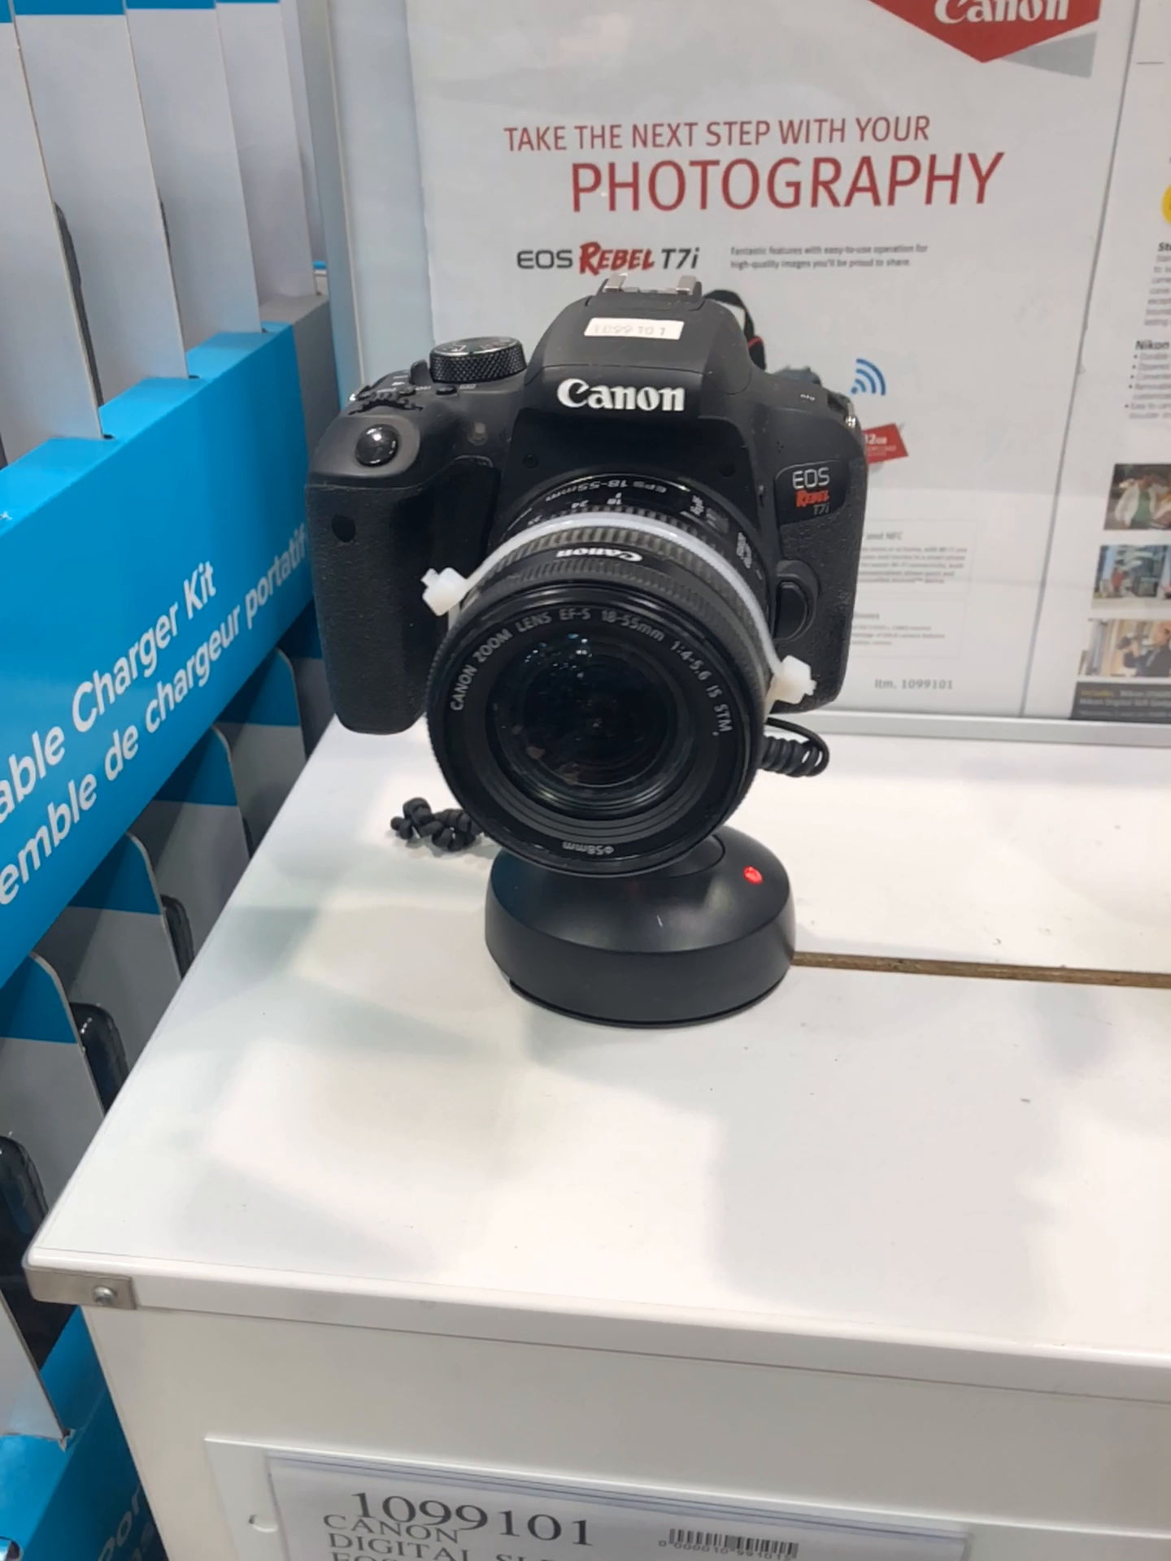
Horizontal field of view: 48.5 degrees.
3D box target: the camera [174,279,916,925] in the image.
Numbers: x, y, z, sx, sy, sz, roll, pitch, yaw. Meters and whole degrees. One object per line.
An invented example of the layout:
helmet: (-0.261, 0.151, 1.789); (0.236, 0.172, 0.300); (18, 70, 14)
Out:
camera: (-0.001, -0.054, 0.316); (0.130, 0.100, 0.151); (2, 32, 5)
